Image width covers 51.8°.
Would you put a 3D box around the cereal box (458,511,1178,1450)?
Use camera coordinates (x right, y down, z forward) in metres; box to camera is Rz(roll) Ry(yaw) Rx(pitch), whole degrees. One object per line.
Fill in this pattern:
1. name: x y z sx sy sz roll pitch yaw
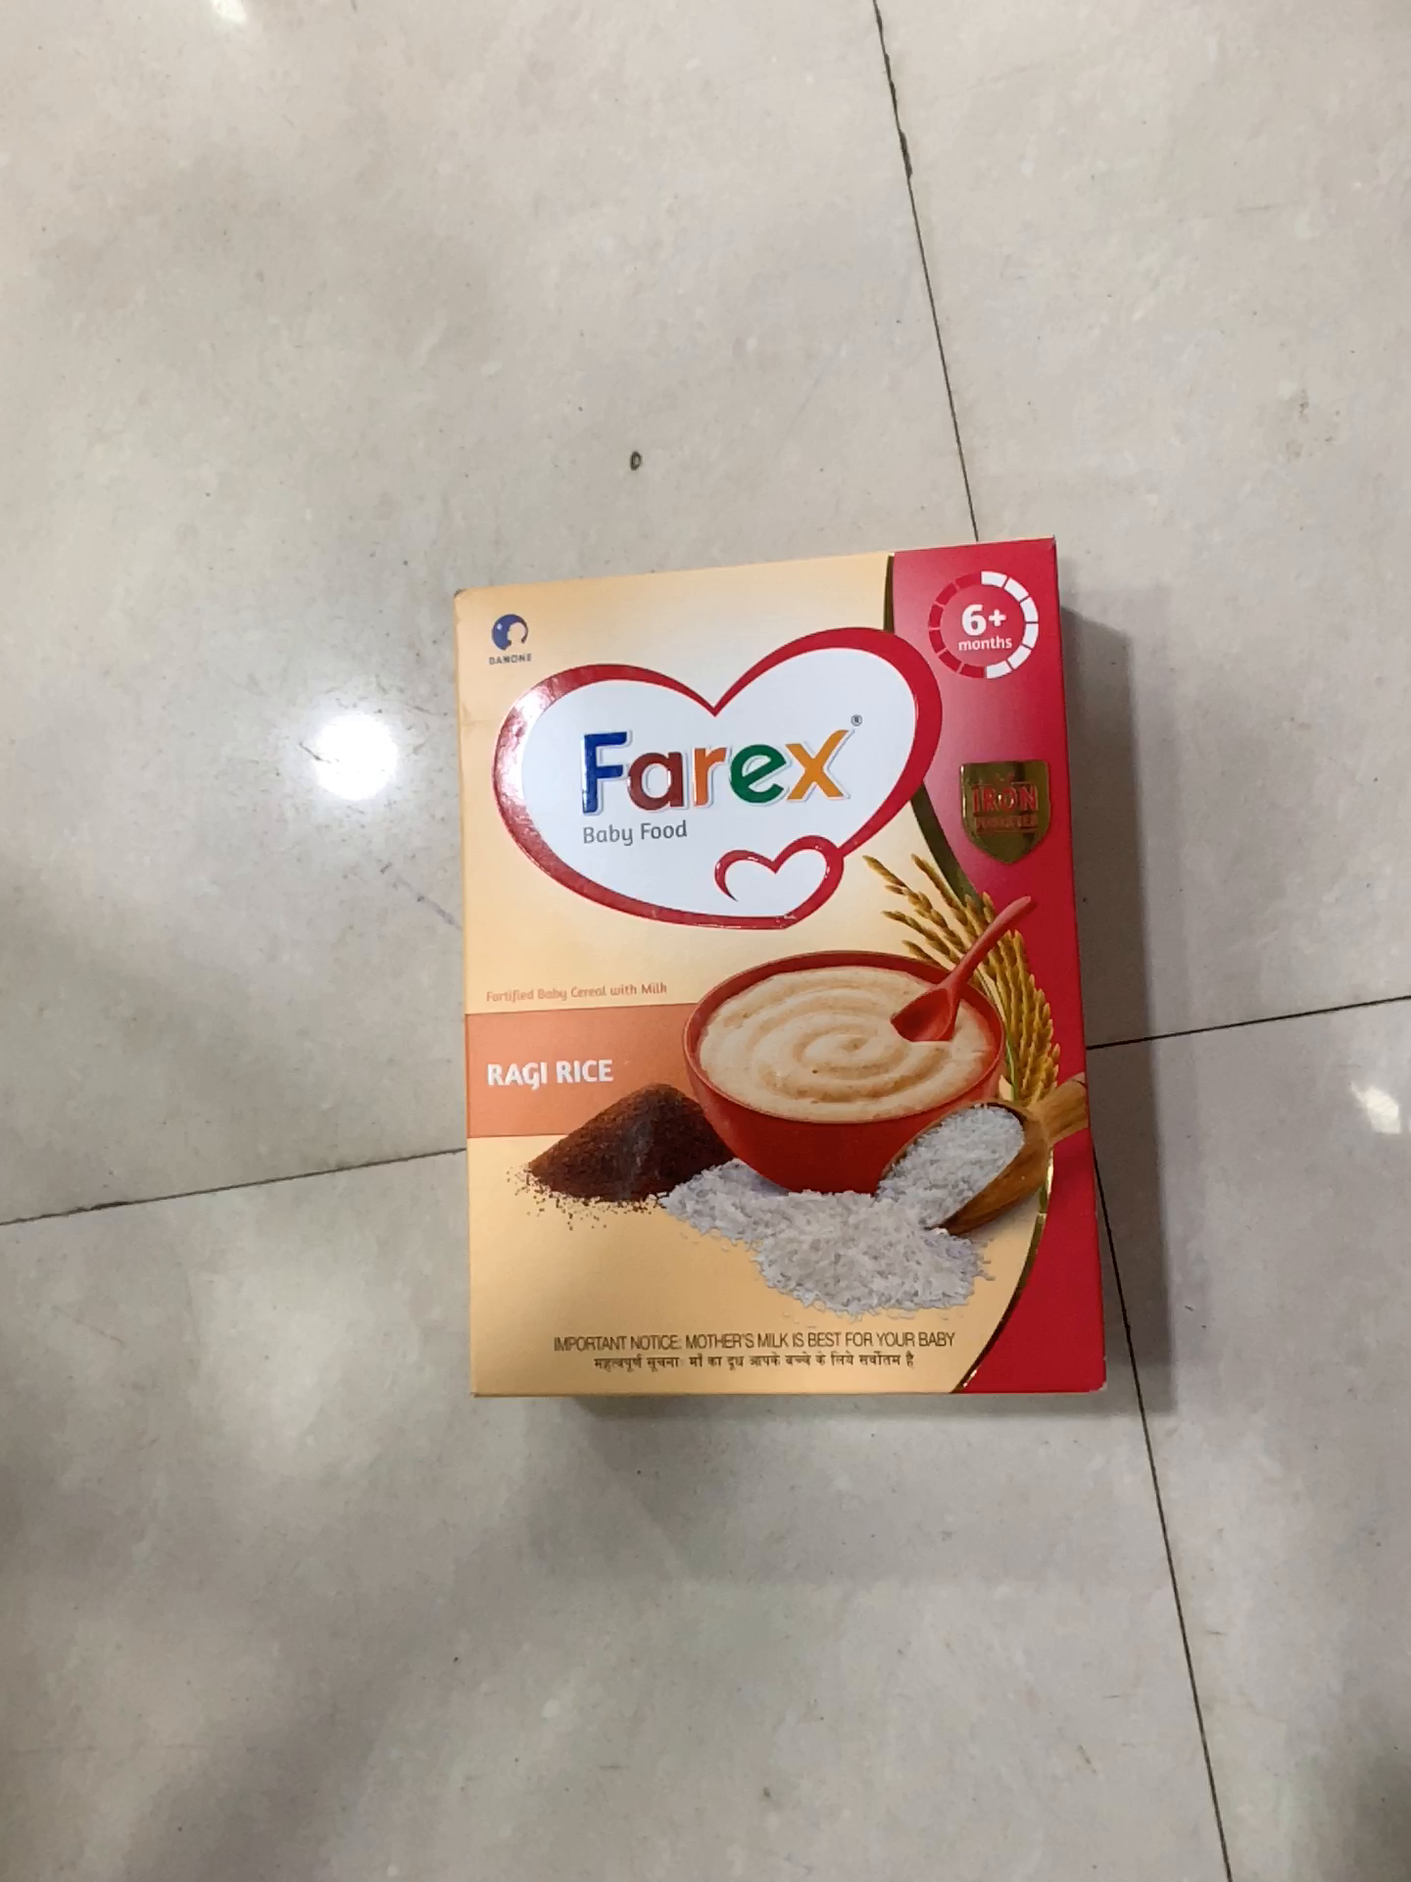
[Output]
1. cereal box: 0.023 0.010 0.341 0.150 0.050 0.200 -2 86 4
